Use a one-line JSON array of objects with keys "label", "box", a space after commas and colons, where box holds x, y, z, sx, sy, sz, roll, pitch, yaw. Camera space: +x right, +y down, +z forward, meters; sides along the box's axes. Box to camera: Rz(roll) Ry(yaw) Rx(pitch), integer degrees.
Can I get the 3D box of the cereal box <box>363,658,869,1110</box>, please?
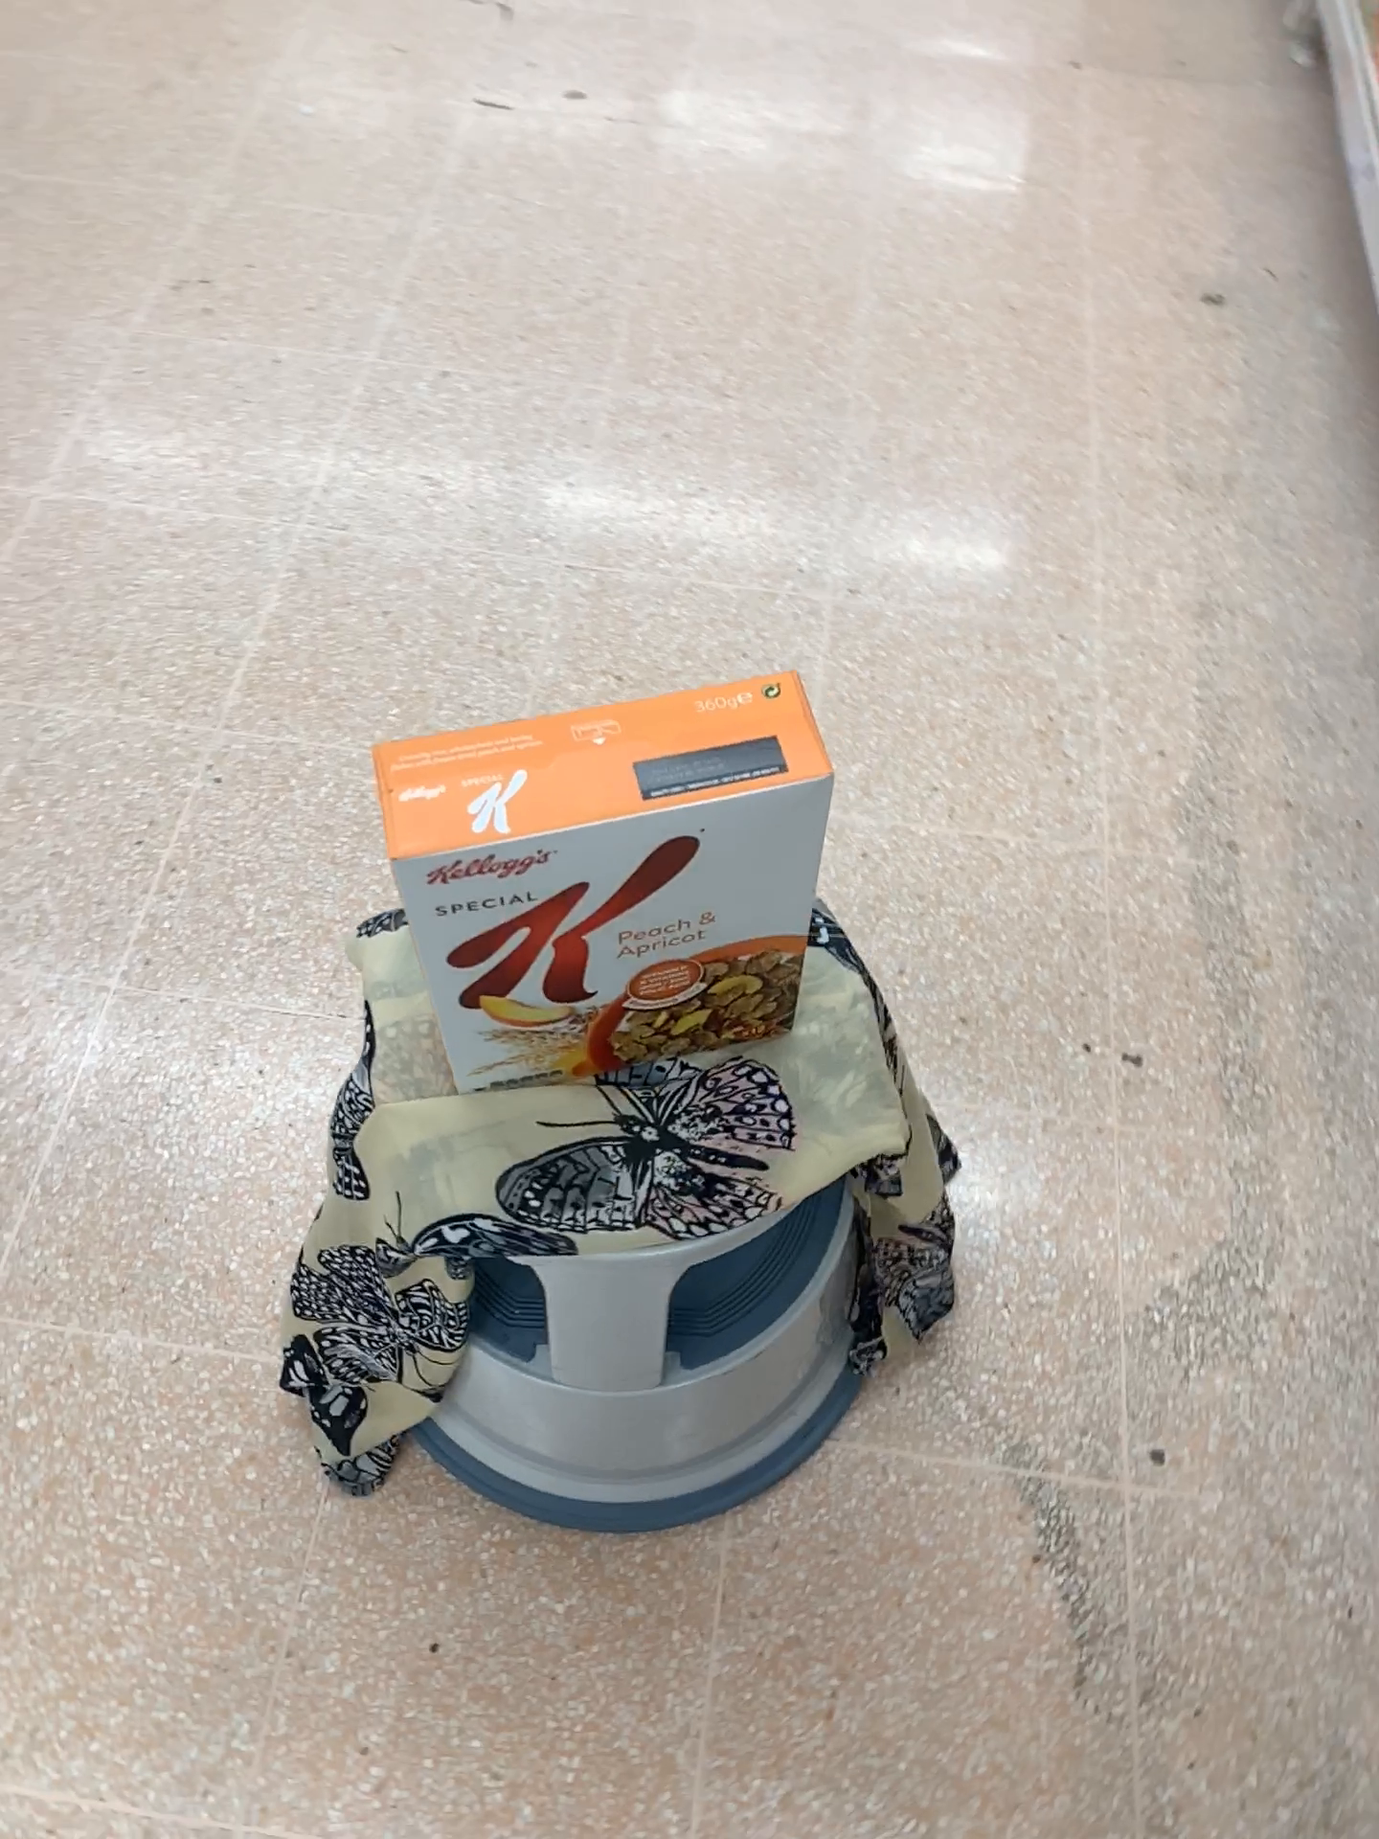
[{"label": "cereal box", "box": [-0.036, -0.005, 0.719, 0.210, 0.268, 0.060, -11, 60, -9]}]
